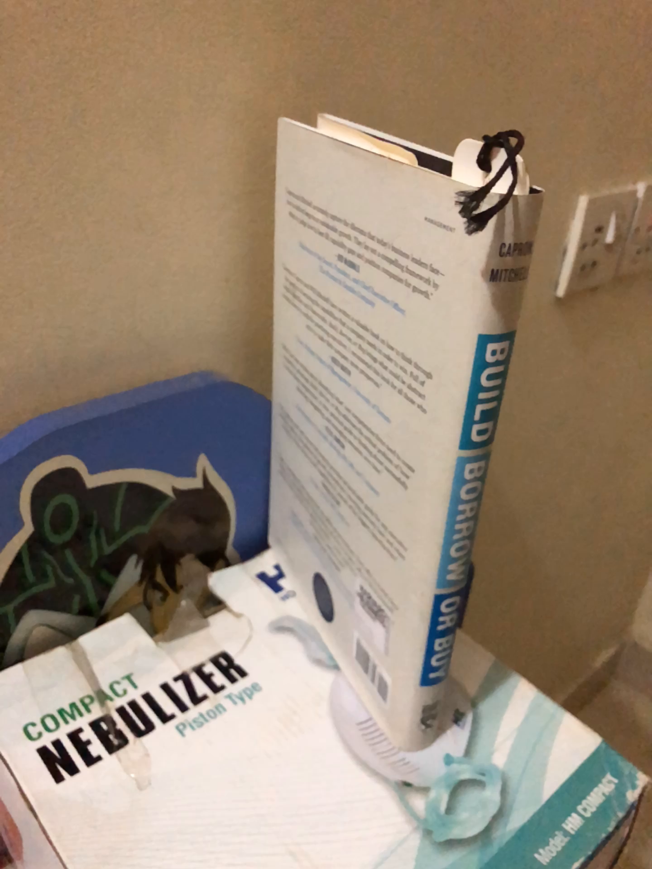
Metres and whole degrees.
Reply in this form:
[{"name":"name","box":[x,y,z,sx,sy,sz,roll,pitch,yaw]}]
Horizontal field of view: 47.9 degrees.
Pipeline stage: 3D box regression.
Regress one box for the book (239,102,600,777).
[{"name":"book","box":[0.012,-0.005,0.326,0.040,0.239,0.181,-11,34,-24]}]
